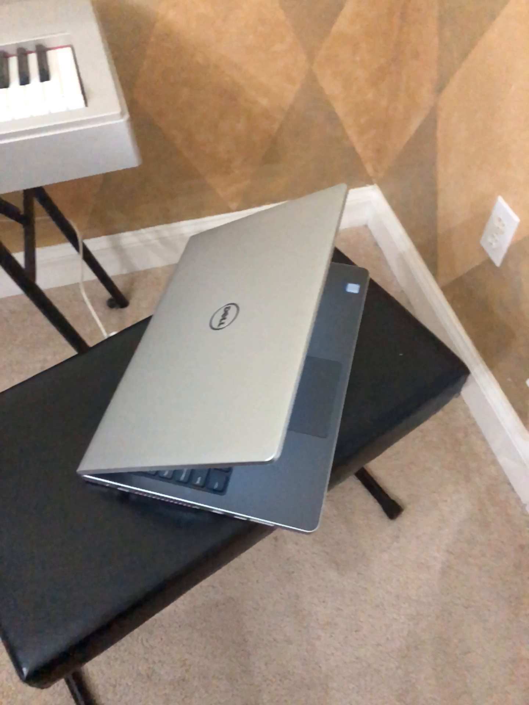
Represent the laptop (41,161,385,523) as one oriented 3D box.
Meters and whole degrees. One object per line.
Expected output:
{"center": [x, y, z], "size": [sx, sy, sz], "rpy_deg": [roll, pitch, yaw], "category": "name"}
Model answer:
{"center": [-0.027, -0.034, 0.671], "size": [0.261, 0.136, 0.377], "rpy_deg": [11, 55, 8], "category": "laptop"}
